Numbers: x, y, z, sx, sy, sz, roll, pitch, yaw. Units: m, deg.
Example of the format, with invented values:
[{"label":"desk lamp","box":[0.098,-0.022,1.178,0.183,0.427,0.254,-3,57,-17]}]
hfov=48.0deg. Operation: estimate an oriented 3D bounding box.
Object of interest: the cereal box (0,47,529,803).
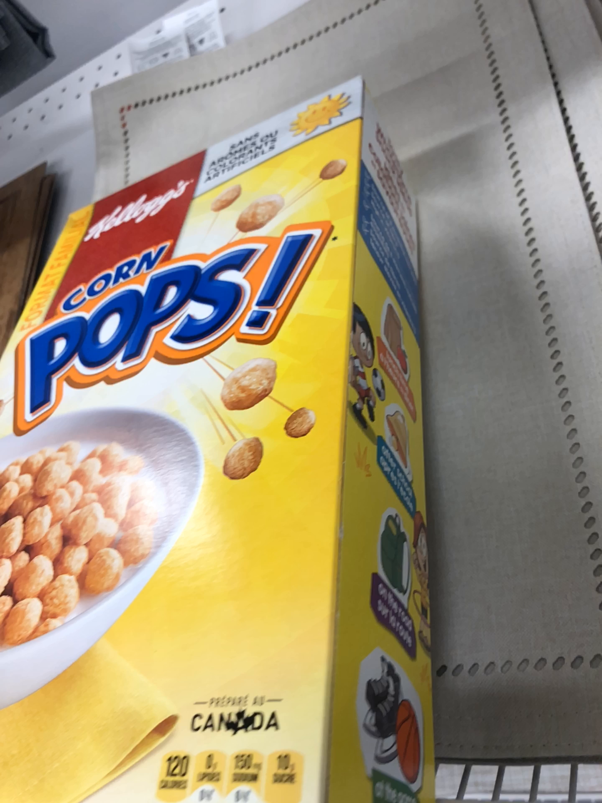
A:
[{"label":"cereal box","box":[-0.041,-0.003,0.314,0.221,0.080,0.341,-14,49,21]}]
